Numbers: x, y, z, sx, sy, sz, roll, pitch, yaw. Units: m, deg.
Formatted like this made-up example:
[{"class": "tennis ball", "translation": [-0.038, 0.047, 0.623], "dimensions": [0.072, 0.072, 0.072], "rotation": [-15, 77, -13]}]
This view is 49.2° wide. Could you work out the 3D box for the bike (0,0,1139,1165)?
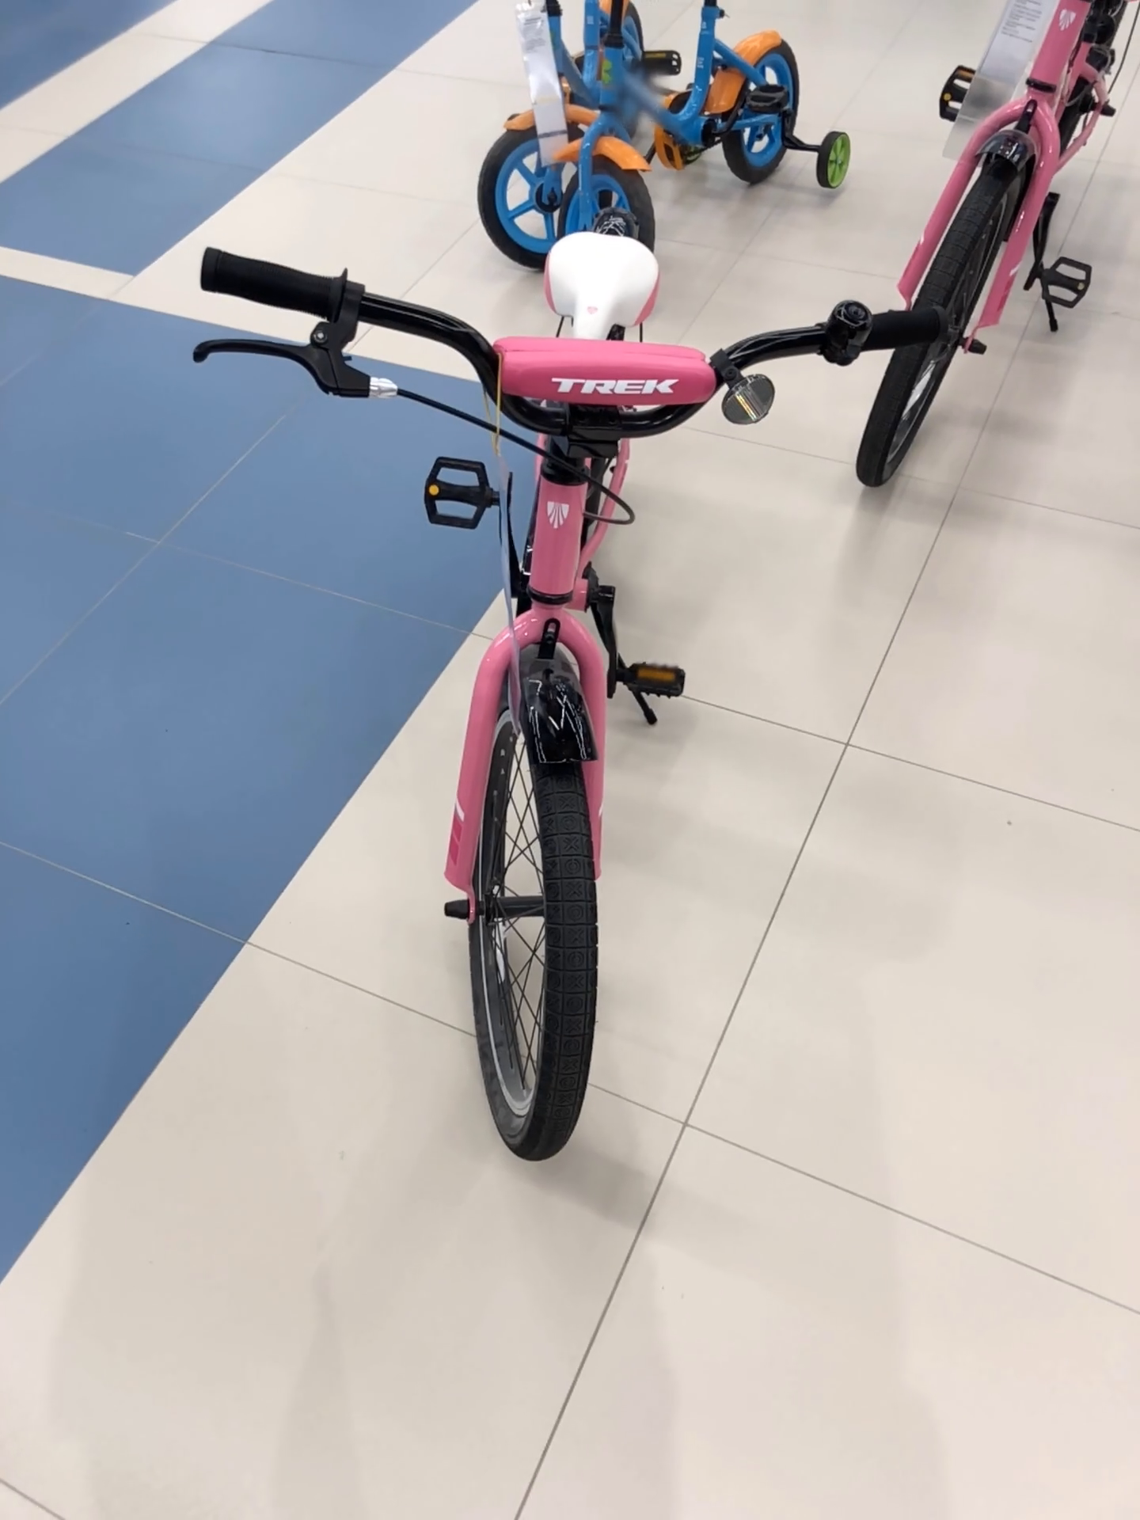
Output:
[{"class": "bike", "translation": [0.046, -0.339, 1.339], "dimensions": [0.555, 0.835, 1.302], "rotation": [0, 44, 5]}]
